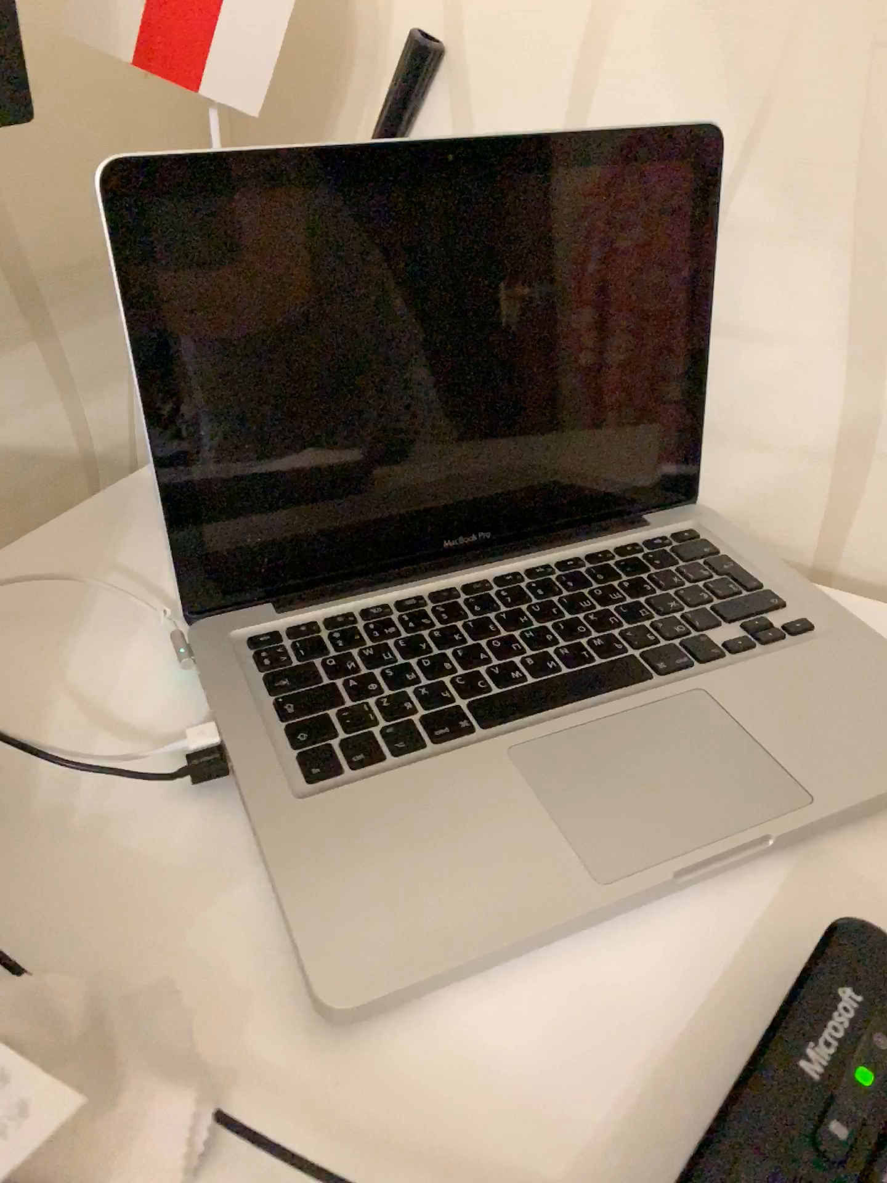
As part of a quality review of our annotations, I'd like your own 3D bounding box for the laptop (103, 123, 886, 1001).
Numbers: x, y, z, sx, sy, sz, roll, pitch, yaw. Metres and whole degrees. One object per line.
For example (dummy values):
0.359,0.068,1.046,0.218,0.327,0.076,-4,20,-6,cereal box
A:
0.052,-0.056,0.377,0.301,0.196,0.250,-14,38,-21,laptop
